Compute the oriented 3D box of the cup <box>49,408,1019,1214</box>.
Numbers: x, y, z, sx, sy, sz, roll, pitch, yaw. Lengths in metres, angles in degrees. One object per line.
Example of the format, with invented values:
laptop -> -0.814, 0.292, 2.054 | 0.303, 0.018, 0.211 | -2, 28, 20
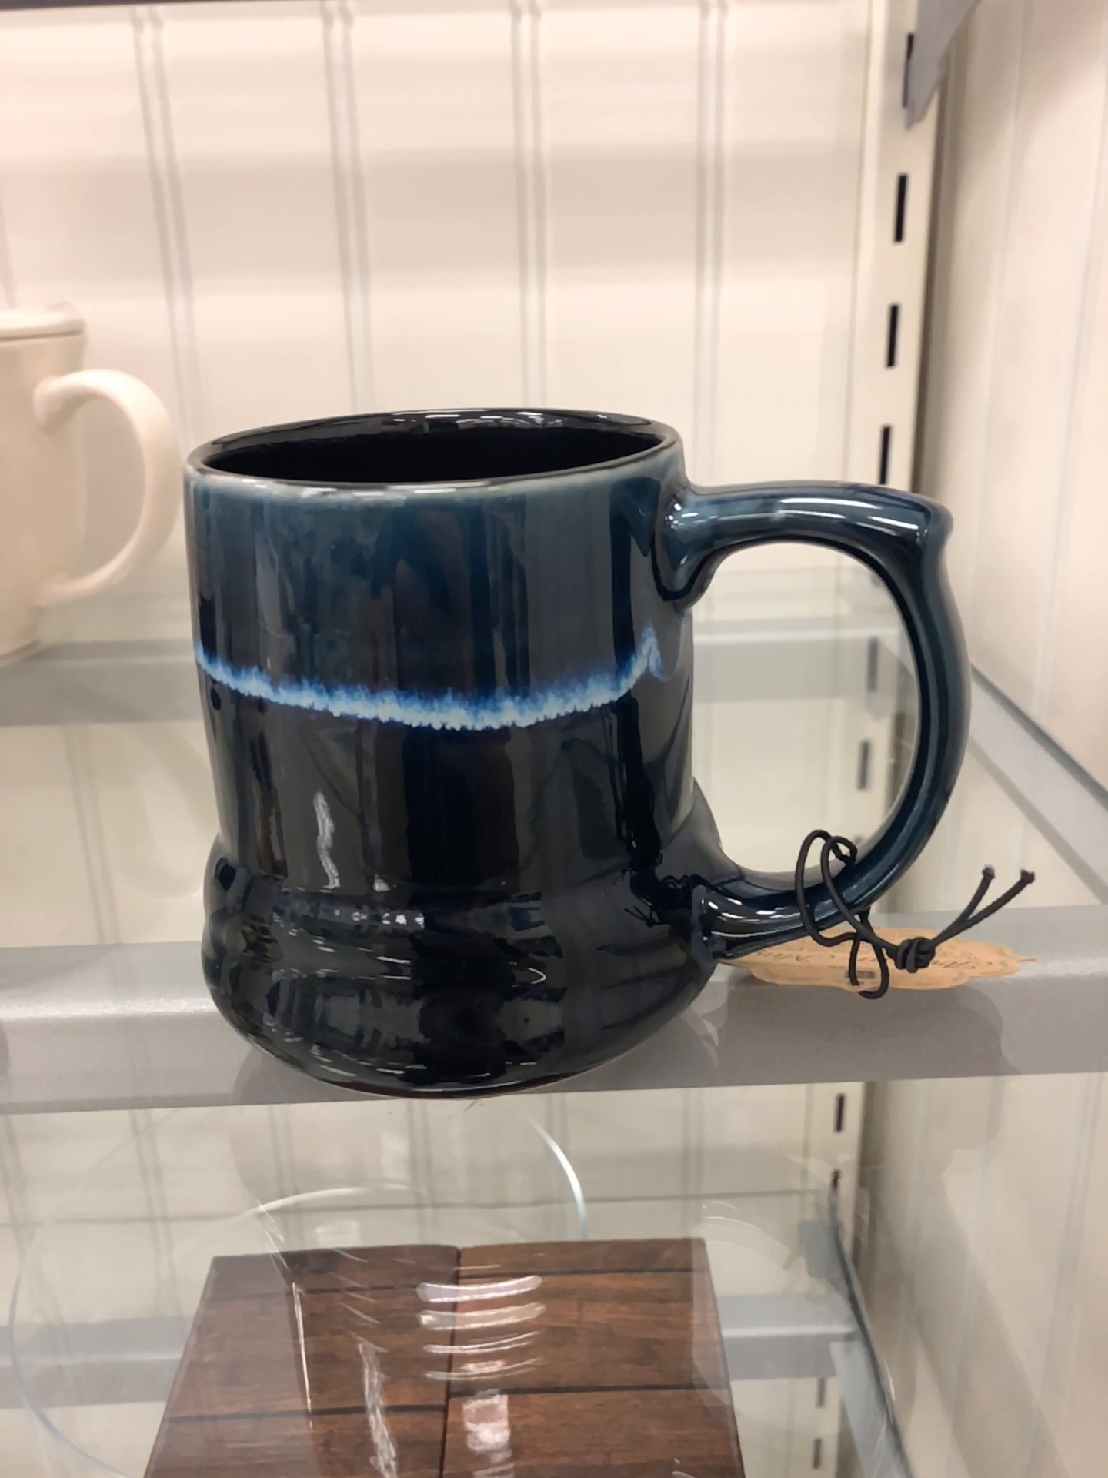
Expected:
cup -> 0.004, 0.000, 0.237 | 0.140, 0.109, 0.101 | 4, 22, 14
